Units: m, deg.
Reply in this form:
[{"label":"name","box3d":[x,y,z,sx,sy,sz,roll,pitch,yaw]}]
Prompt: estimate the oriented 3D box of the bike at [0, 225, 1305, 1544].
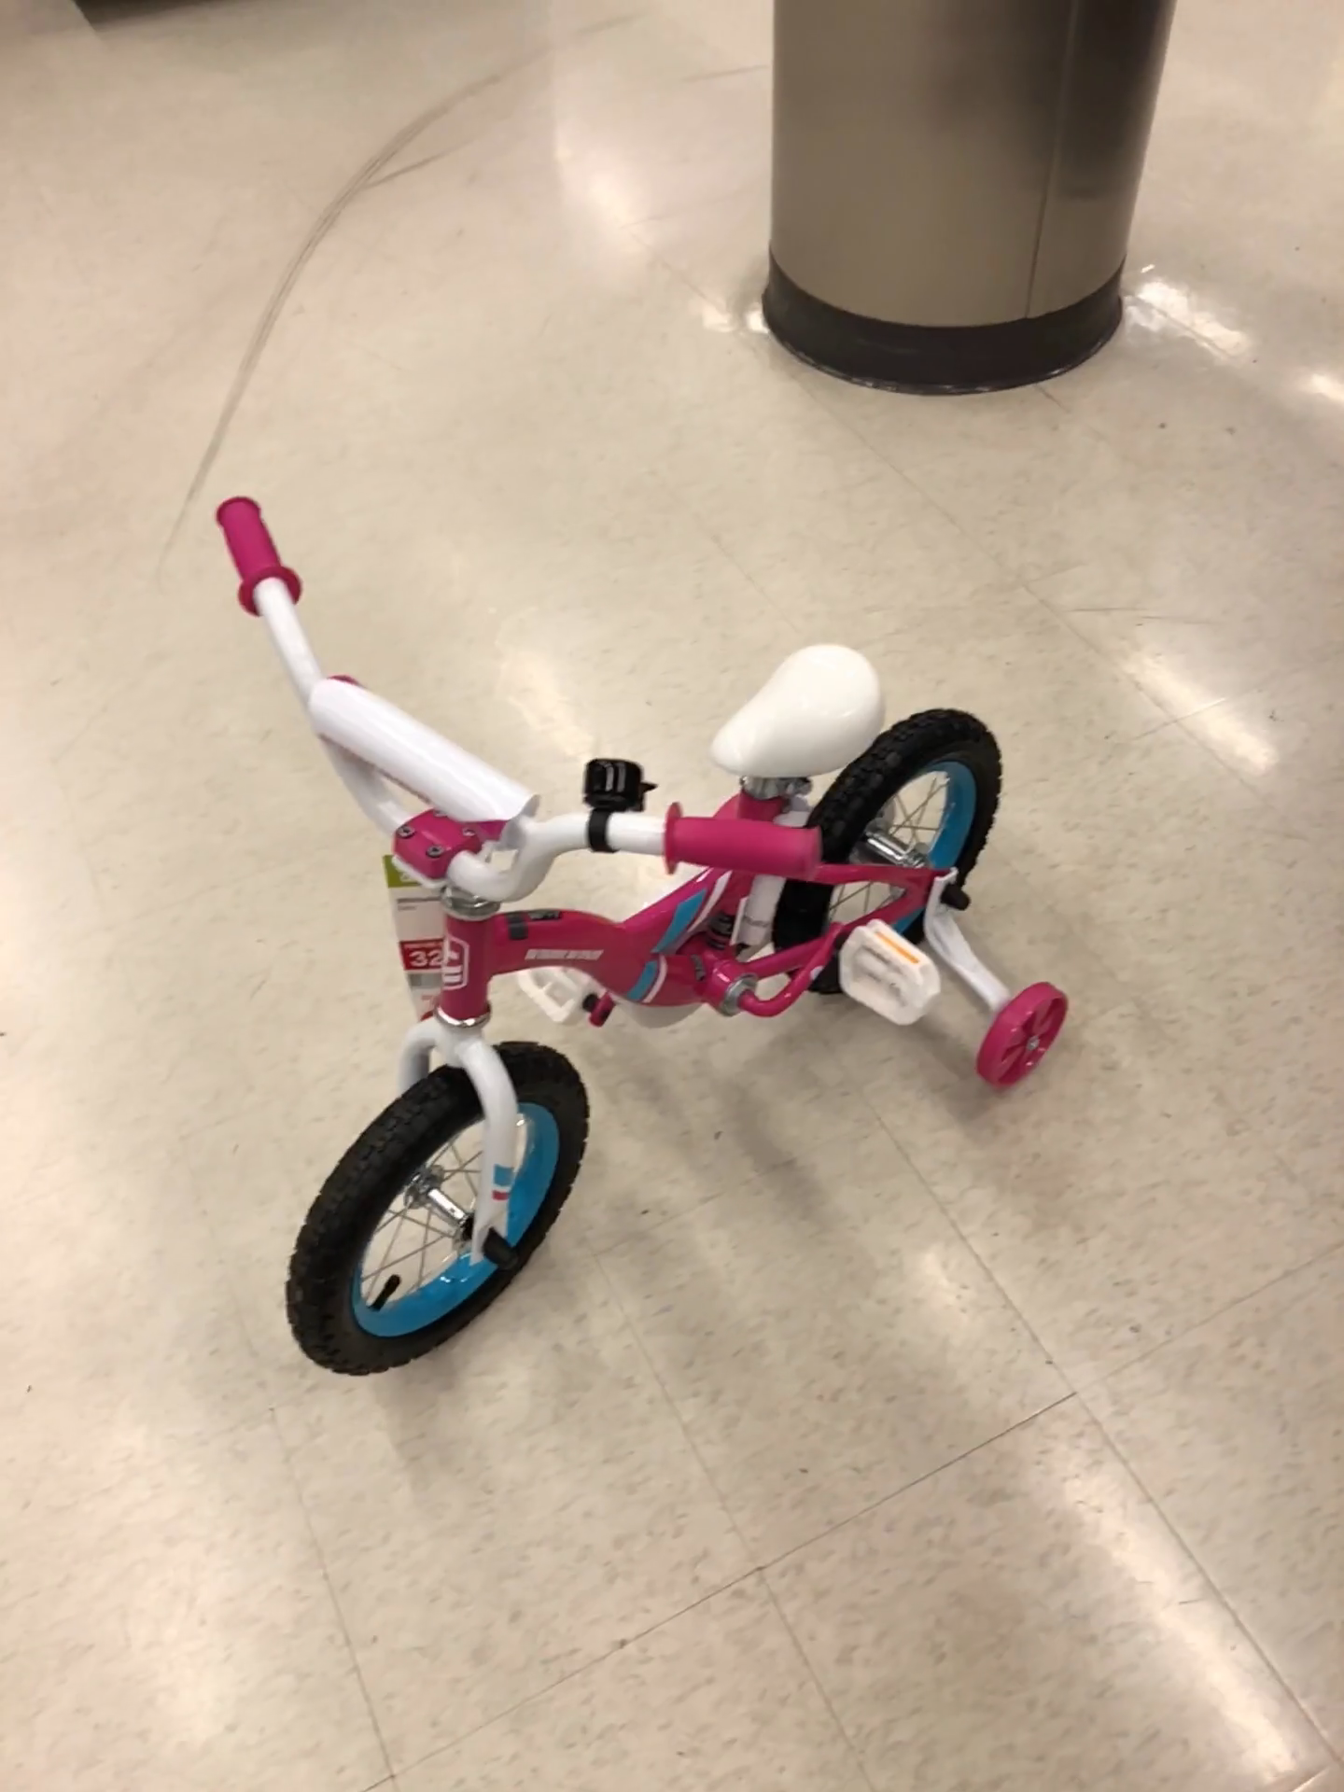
[{"label":"bike","box3d":[-0.015,-0.042,1.165,0.816,0.625,0.462,-35,56,-28]}]
